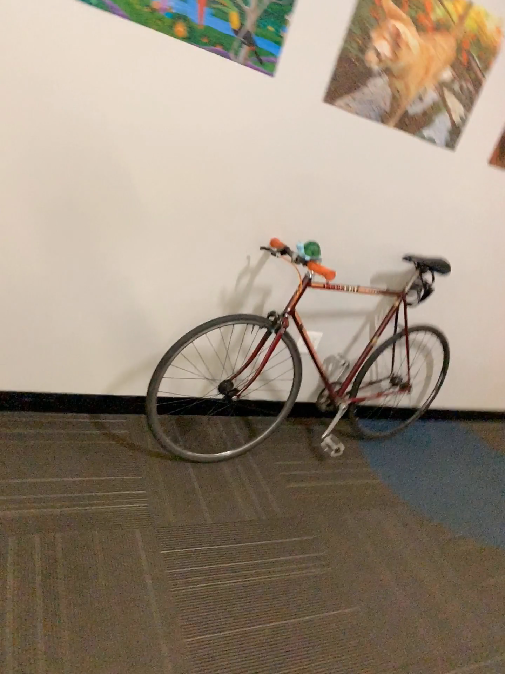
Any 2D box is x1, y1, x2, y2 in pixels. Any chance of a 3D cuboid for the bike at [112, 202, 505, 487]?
[{"bbox_3d":[0.334,0.069,2.284,1.623,0.910,0.451,3,28,-34],"label":"bike"}]
